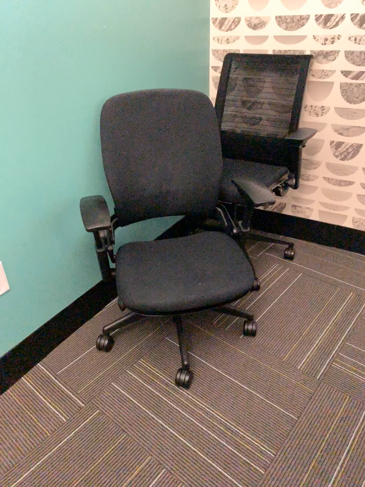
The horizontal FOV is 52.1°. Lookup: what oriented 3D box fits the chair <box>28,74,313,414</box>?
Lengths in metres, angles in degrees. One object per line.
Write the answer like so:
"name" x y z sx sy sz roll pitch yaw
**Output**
"chair" -0.073 -0.063 1.414 0.660 0.944 0.775 -8 31 -10
